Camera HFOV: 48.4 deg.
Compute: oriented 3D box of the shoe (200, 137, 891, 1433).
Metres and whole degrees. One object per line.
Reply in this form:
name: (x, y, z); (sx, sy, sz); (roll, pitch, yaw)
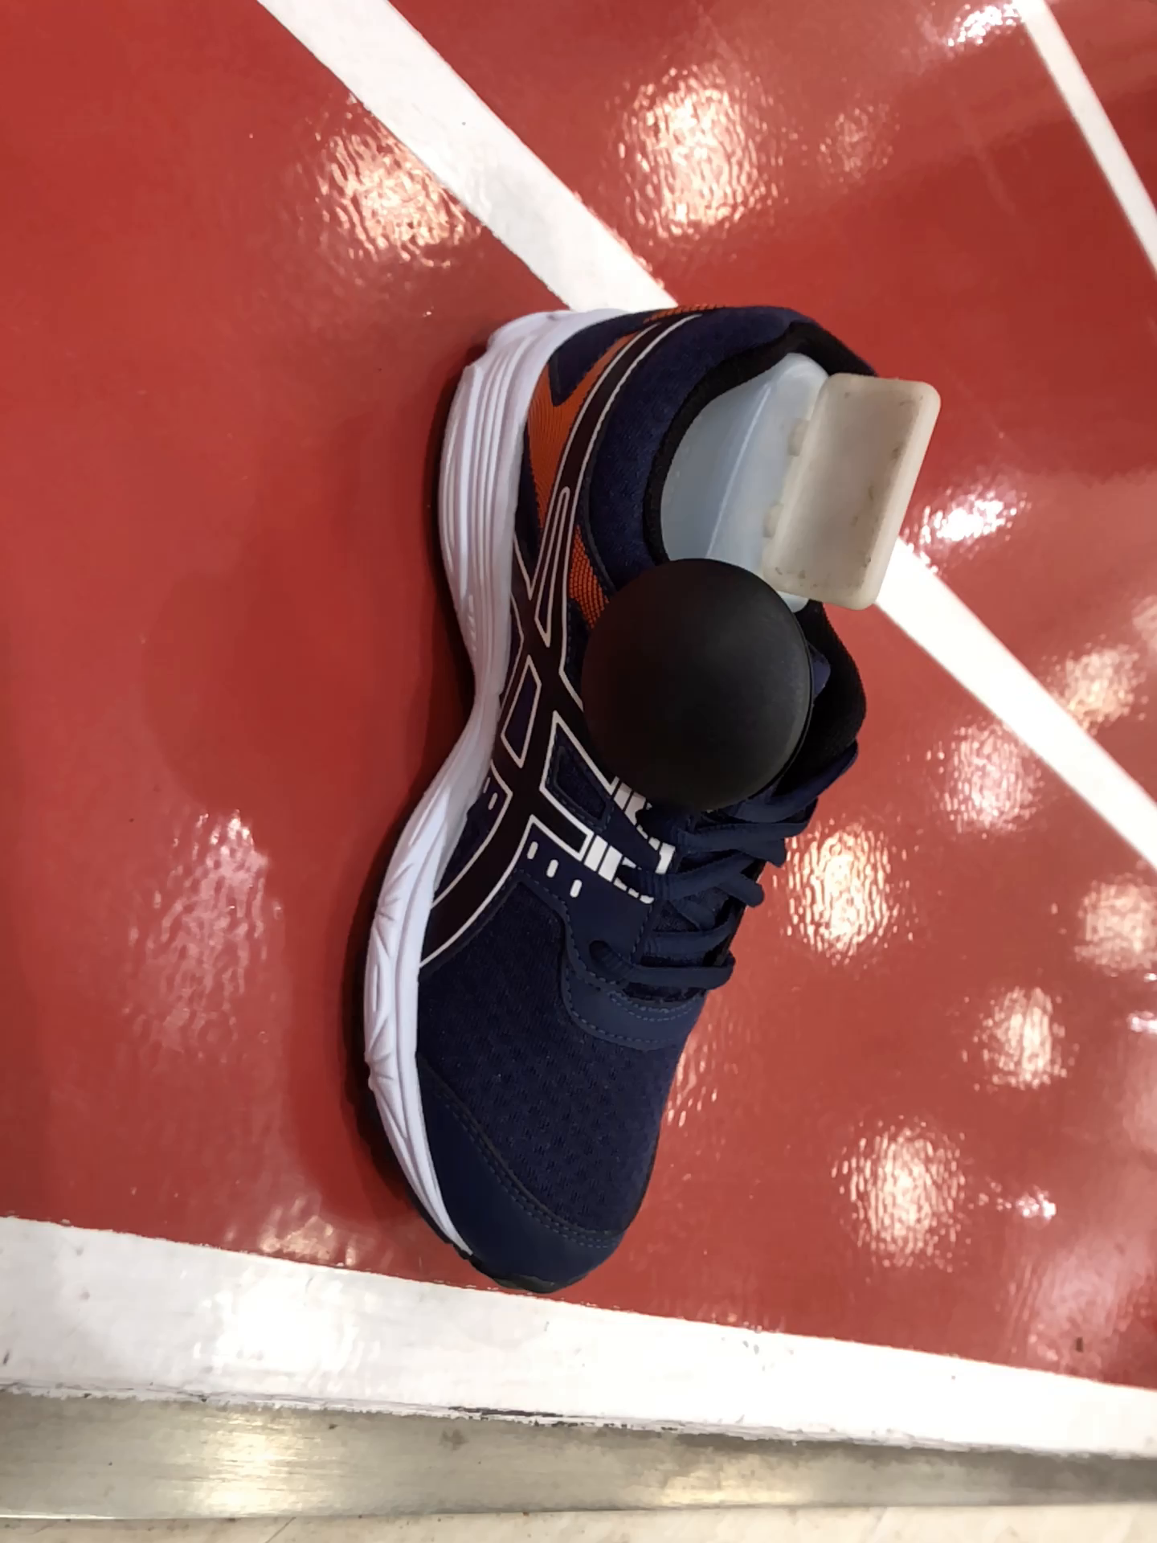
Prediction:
shoe: (-0.003, 0.004, 0.305); (0.101, 0.099, 0.240); (14, 79, -46)
